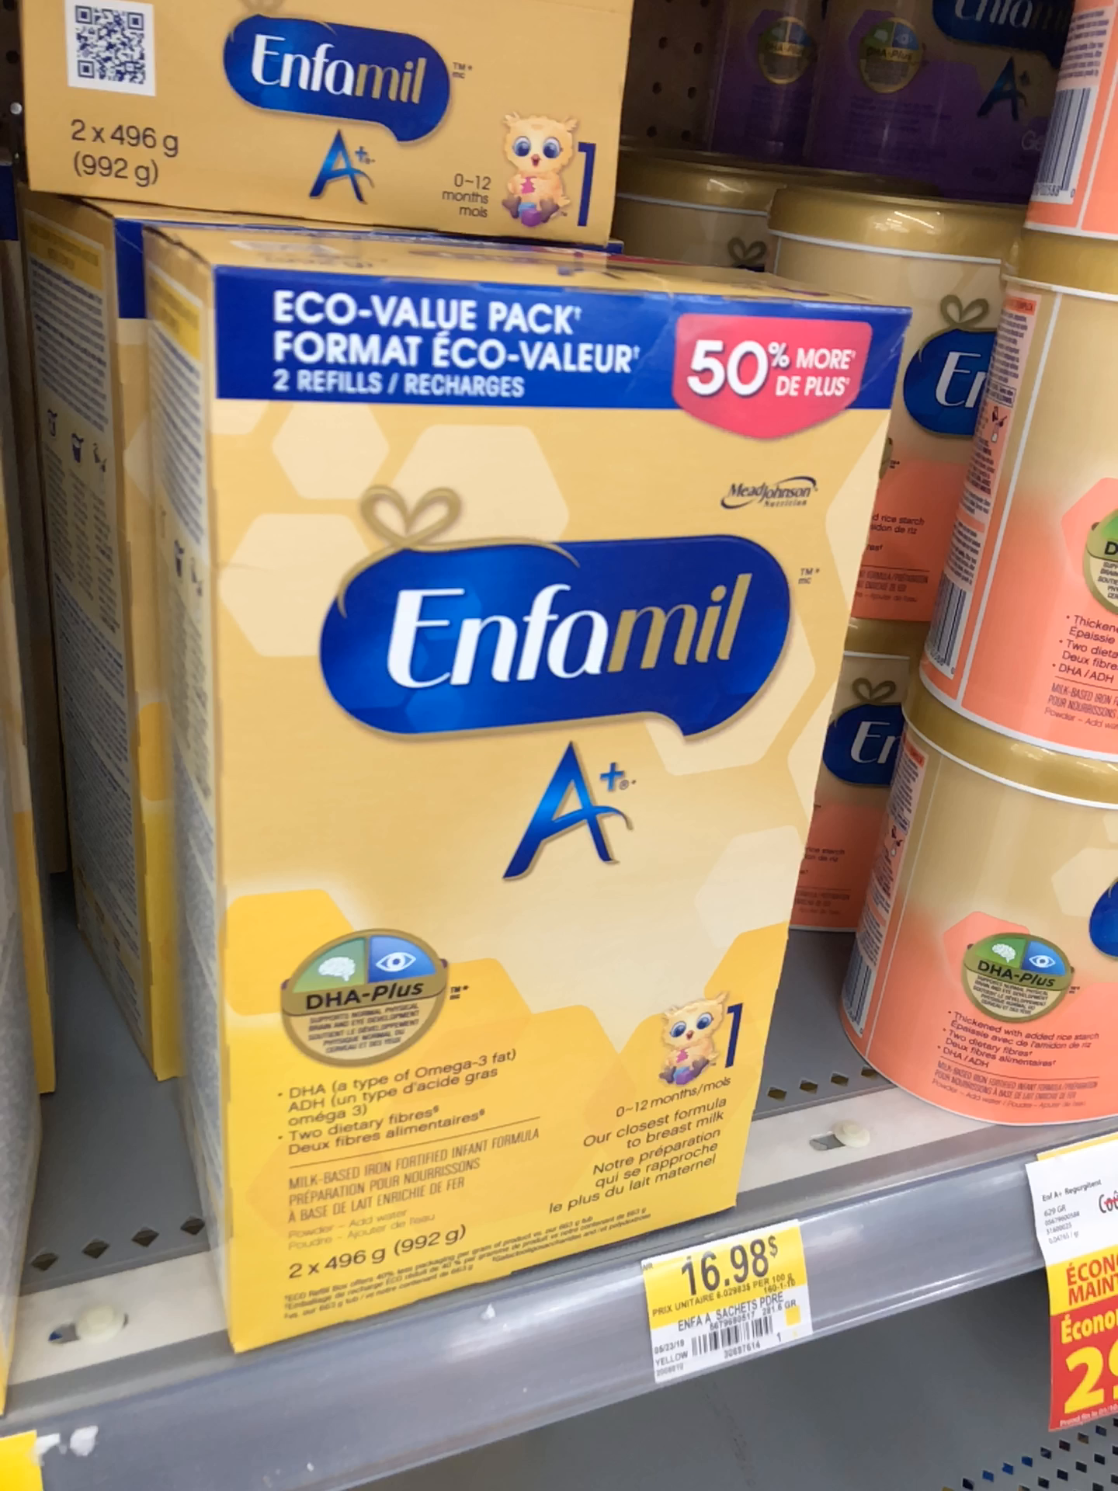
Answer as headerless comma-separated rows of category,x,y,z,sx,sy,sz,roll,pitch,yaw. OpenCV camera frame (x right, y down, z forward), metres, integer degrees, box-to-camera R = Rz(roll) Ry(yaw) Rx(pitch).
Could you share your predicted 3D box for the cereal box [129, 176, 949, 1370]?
cereal box,-0.017,0.009,0.307,0.150,0.258,0.080,-6,27,-25
